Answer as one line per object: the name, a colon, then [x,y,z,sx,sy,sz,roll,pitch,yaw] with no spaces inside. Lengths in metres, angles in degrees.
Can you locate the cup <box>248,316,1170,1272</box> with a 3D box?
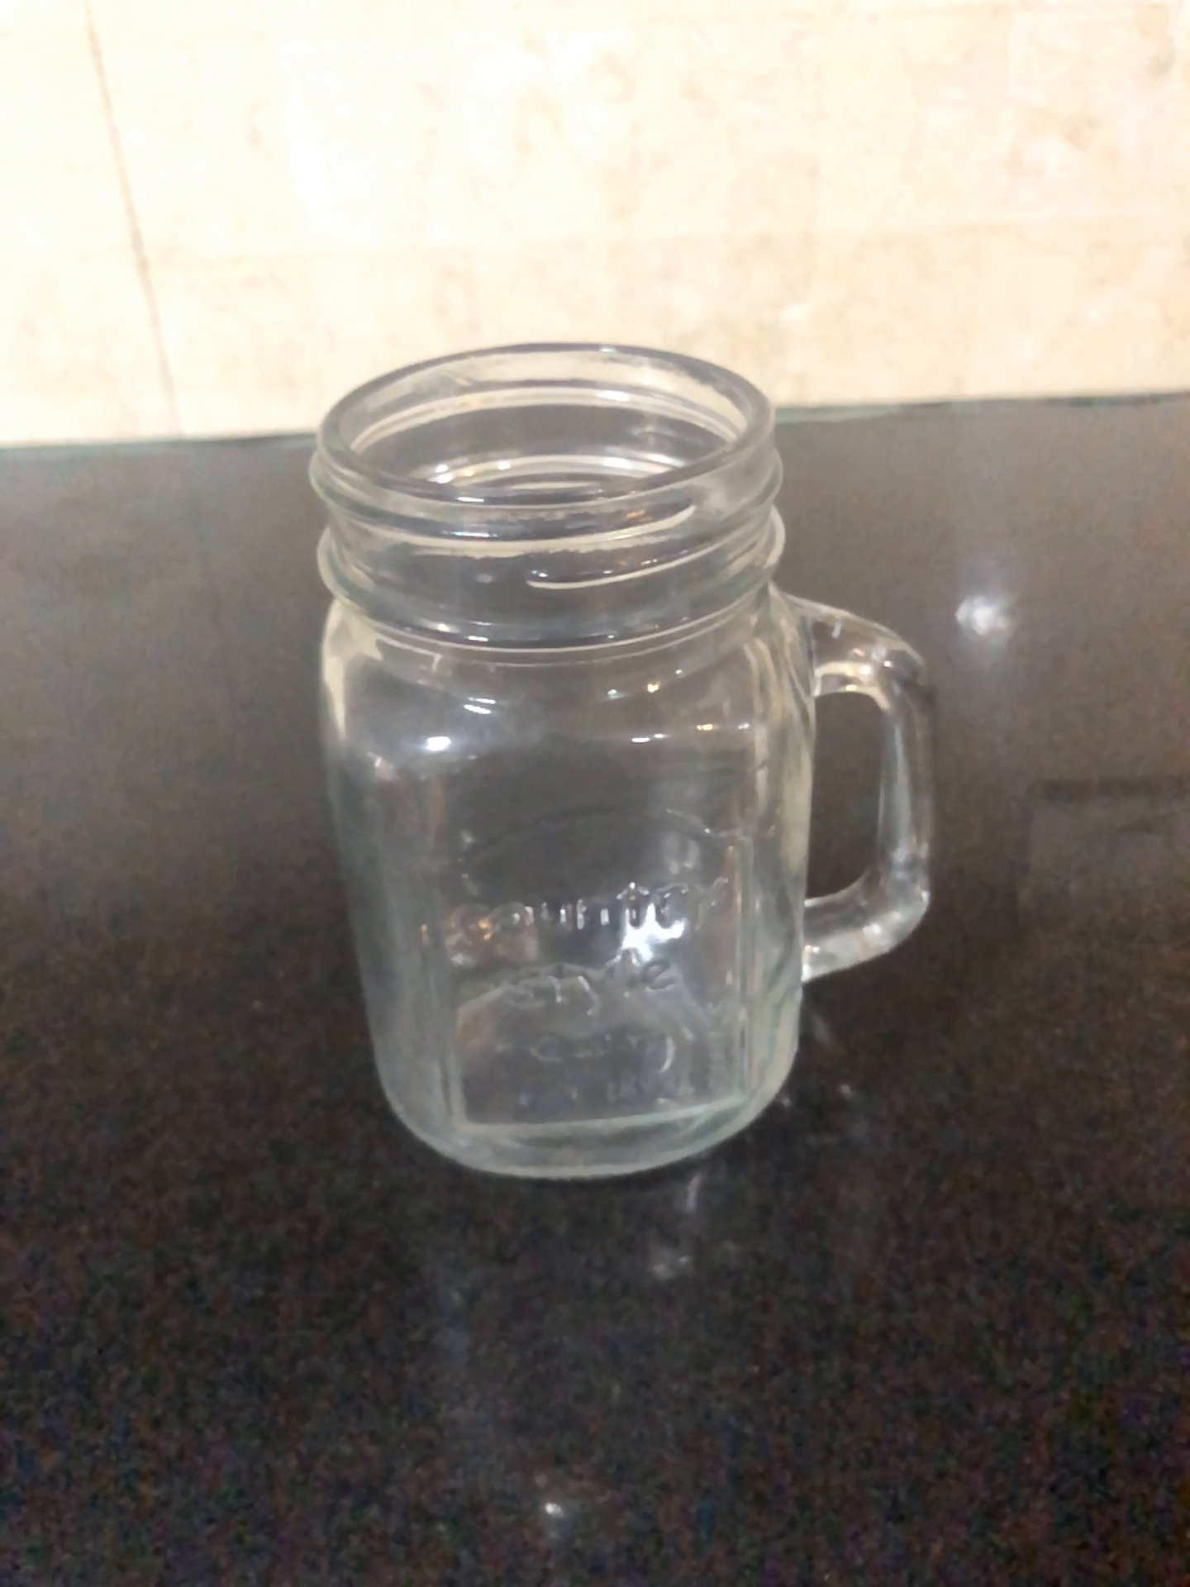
cup: [0.013,0.000,0.227,0.110,0.129,0.081,-5,34,-4]
